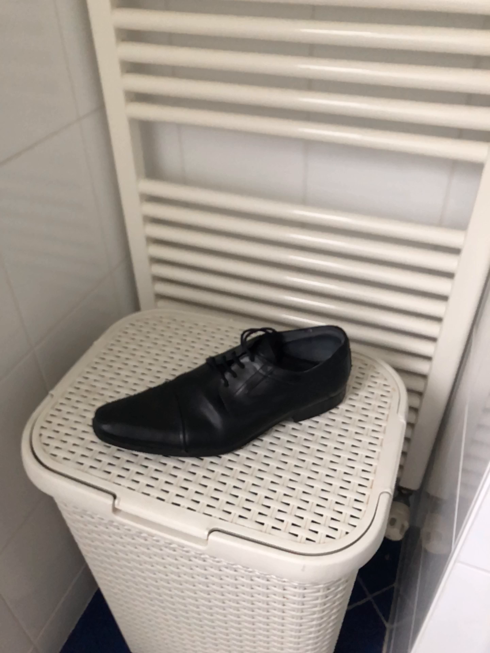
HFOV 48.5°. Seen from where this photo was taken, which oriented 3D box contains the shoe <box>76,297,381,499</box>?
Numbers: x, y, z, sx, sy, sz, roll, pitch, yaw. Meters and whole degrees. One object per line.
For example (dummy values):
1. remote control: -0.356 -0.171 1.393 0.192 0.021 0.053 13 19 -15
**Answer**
1. shoe: -0.016 0.072 0.619 0.311 0.099 0.110 -14 41 -16
